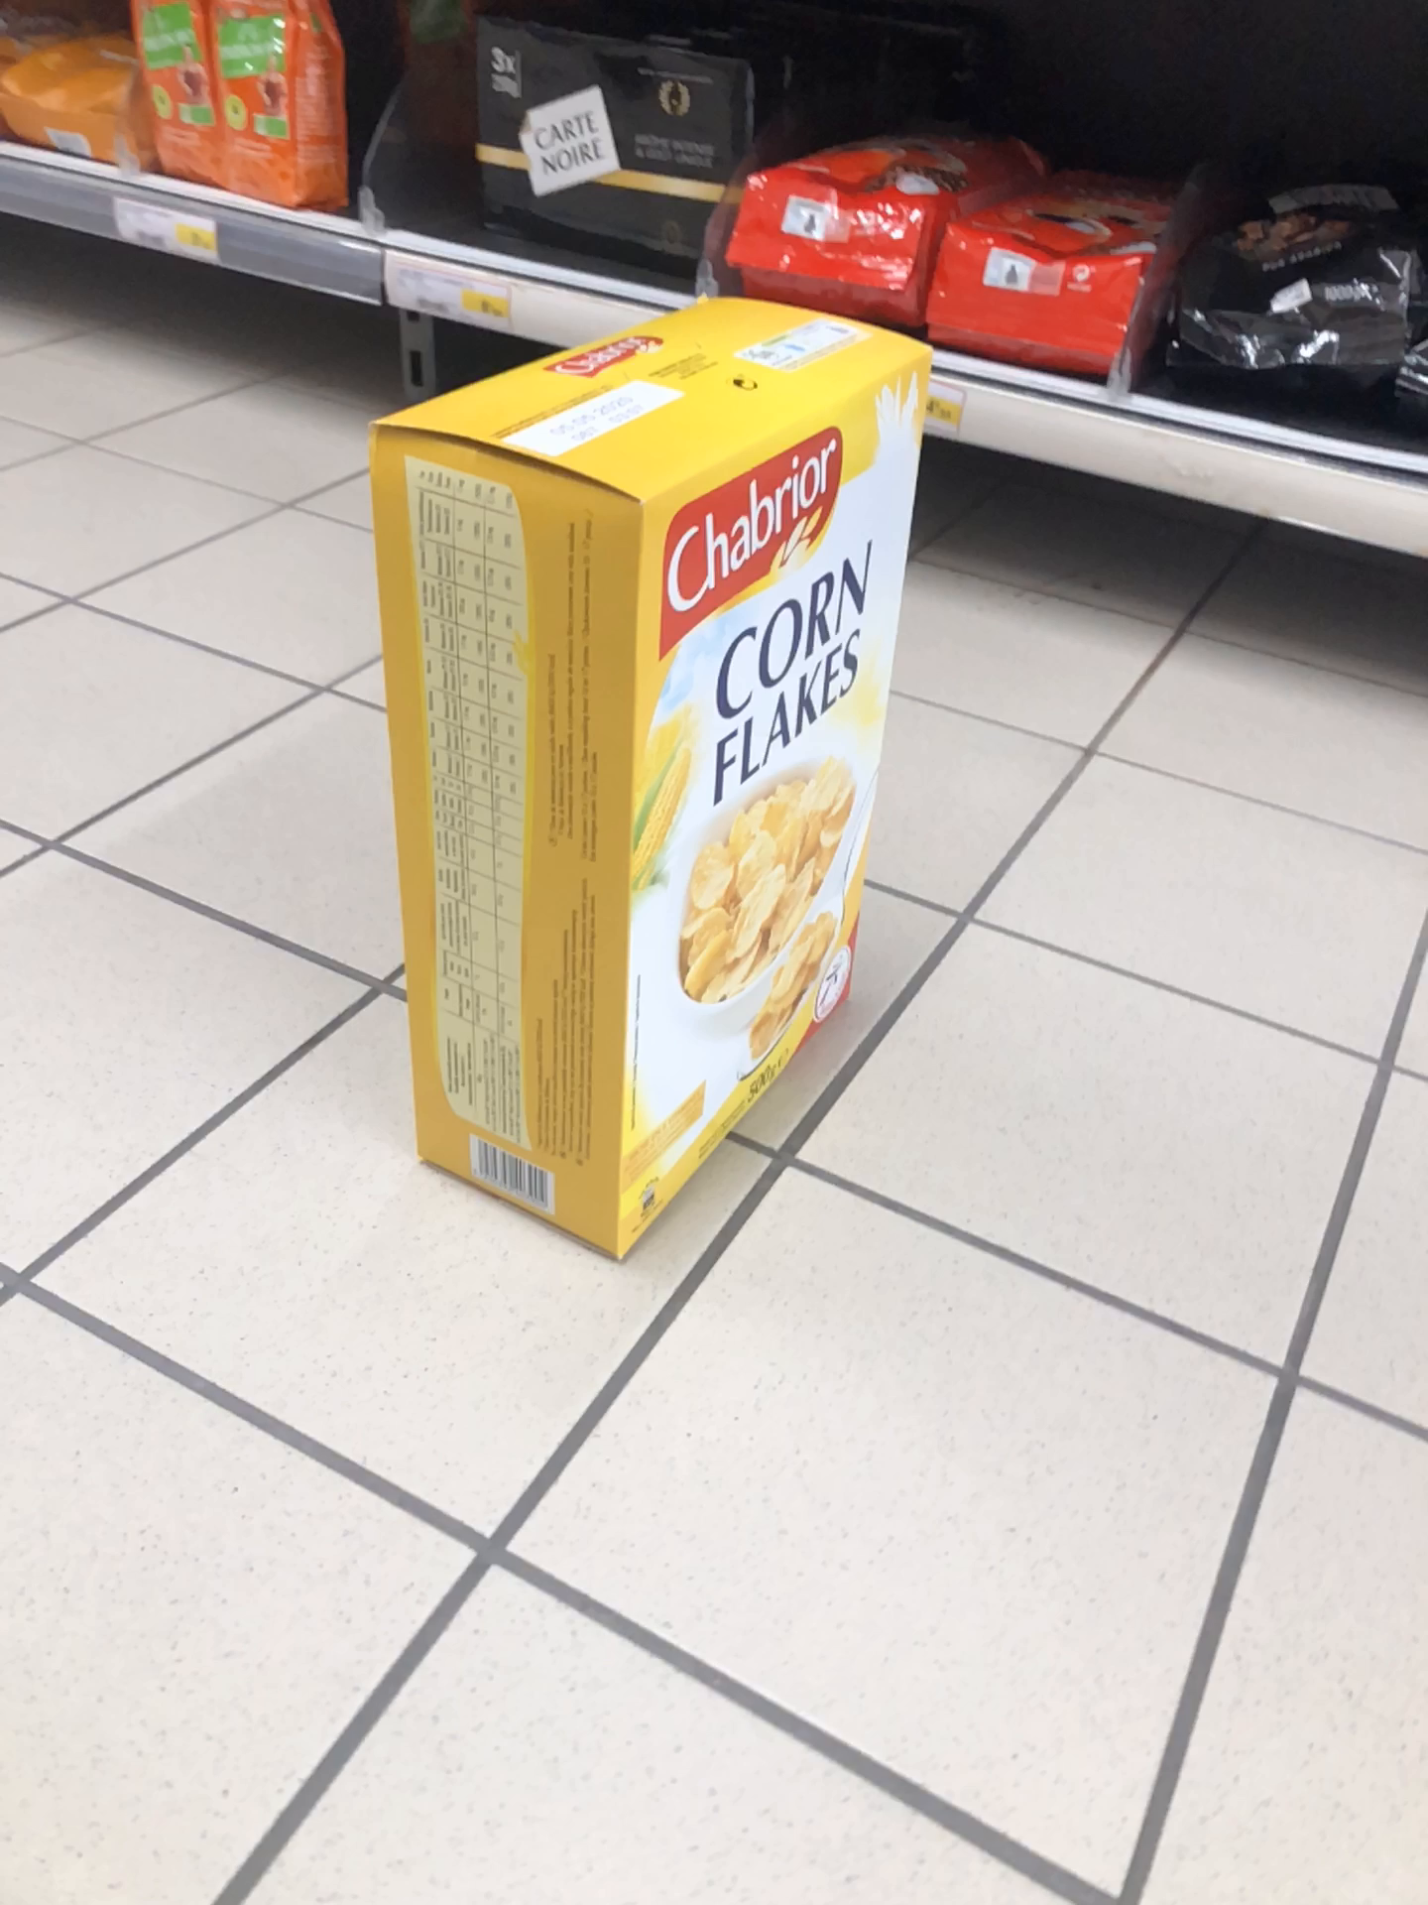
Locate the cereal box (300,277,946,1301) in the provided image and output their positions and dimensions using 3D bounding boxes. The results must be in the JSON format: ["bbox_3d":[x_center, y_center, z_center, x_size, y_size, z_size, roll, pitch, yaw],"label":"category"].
[{"bbox_3d":[-0.028,-0.064,0.593,0.110,0.308,0.211,22,39,22],"label":"cereal box"}]
